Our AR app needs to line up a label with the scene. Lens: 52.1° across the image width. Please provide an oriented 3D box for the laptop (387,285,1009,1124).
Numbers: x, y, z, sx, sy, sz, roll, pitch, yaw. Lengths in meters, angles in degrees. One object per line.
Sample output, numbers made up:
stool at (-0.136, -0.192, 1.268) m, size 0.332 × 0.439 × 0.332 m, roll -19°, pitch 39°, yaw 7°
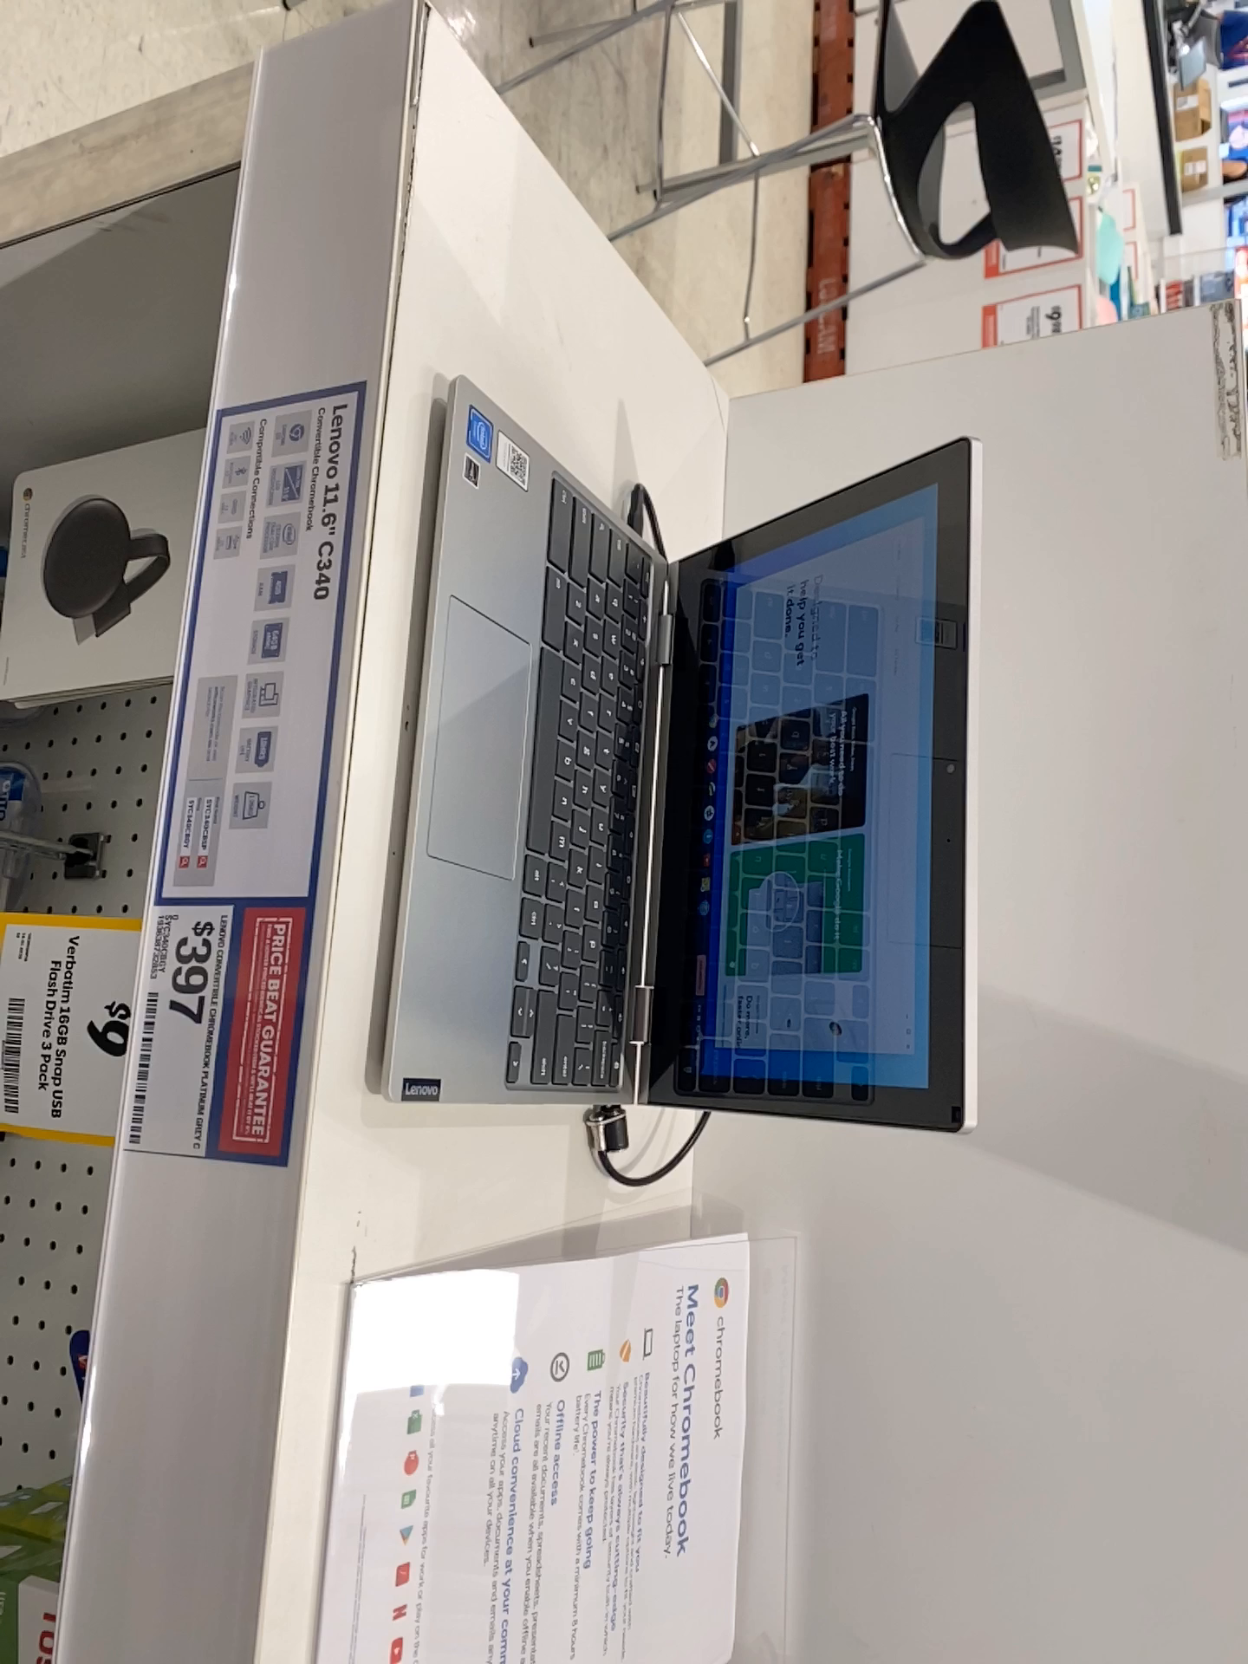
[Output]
laptop at (0.050, -0.027, 0.540) m, size 0.201 × 0.180 × 0.283 m, roll 24°, pitch 66°, yaw -60°
